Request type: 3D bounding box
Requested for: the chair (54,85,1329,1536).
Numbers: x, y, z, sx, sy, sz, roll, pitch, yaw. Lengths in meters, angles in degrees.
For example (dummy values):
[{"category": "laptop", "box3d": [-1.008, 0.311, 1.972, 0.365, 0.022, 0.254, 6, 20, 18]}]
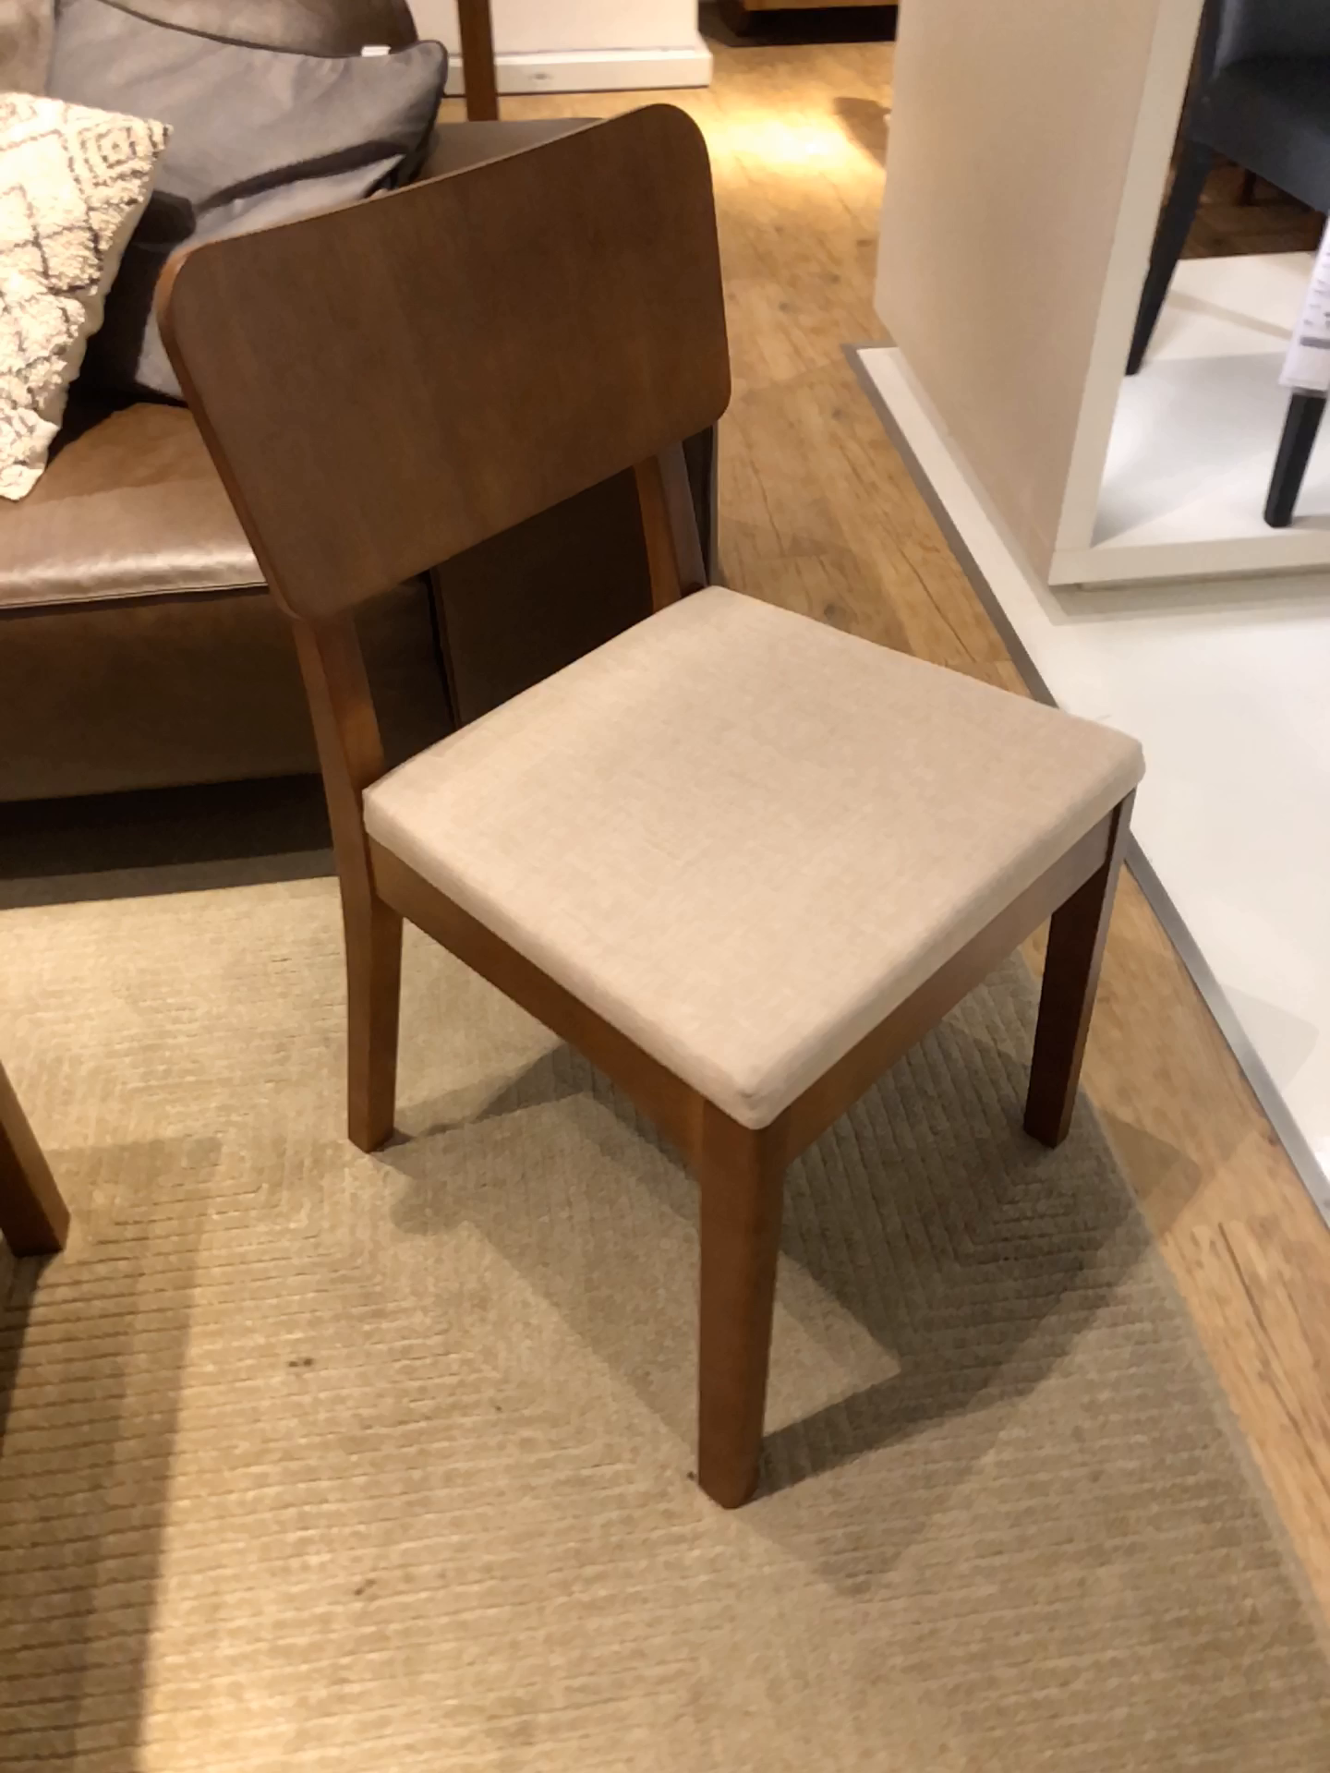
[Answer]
[{"category": "chair", "box3d": [0.028, -0.061, 1.091, 0.532, 0.794, 0.512, 31, 51, 30]}]
